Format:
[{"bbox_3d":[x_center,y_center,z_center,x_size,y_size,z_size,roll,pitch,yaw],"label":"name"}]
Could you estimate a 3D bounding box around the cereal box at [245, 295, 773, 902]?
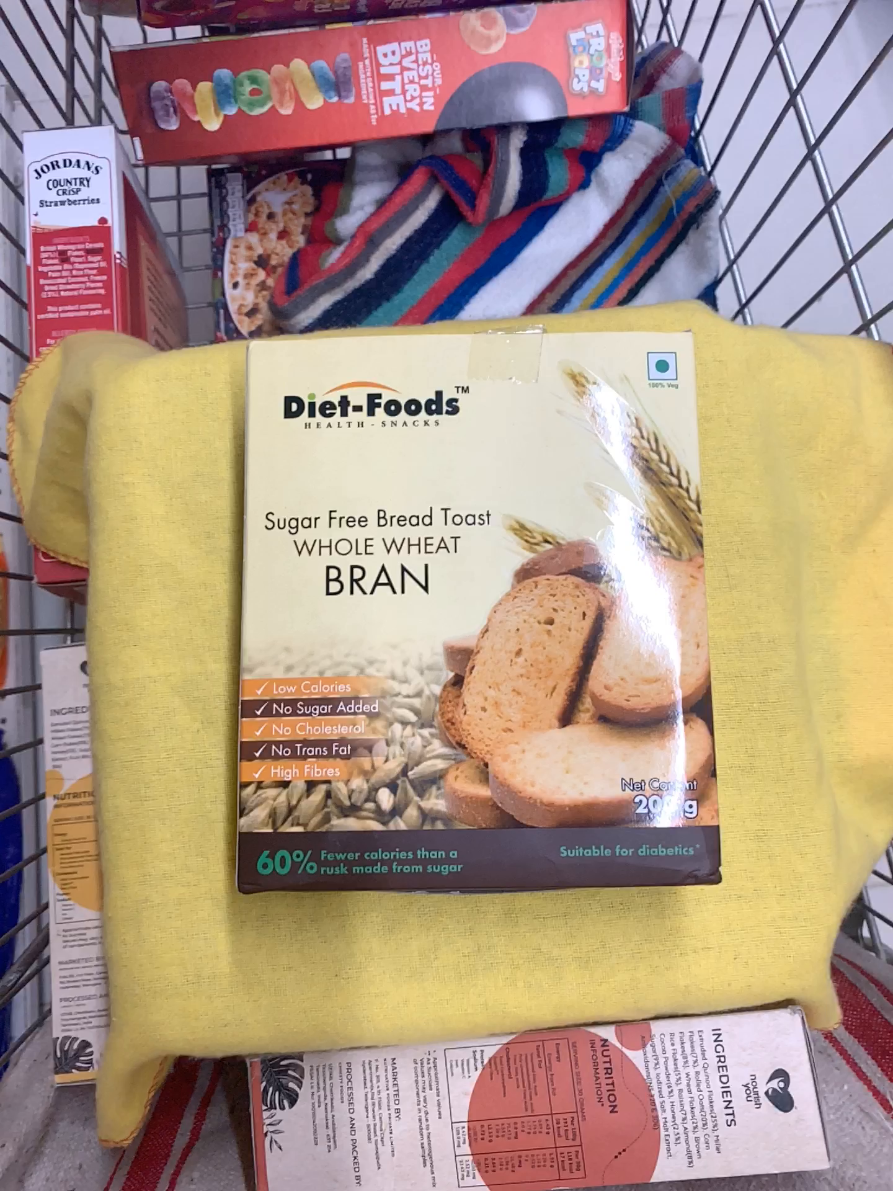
[{"bbox_3d":[0.015,0.001,0.282,0.140,0.050,0.170,-1,81,1],"label":"cereal box"}]
